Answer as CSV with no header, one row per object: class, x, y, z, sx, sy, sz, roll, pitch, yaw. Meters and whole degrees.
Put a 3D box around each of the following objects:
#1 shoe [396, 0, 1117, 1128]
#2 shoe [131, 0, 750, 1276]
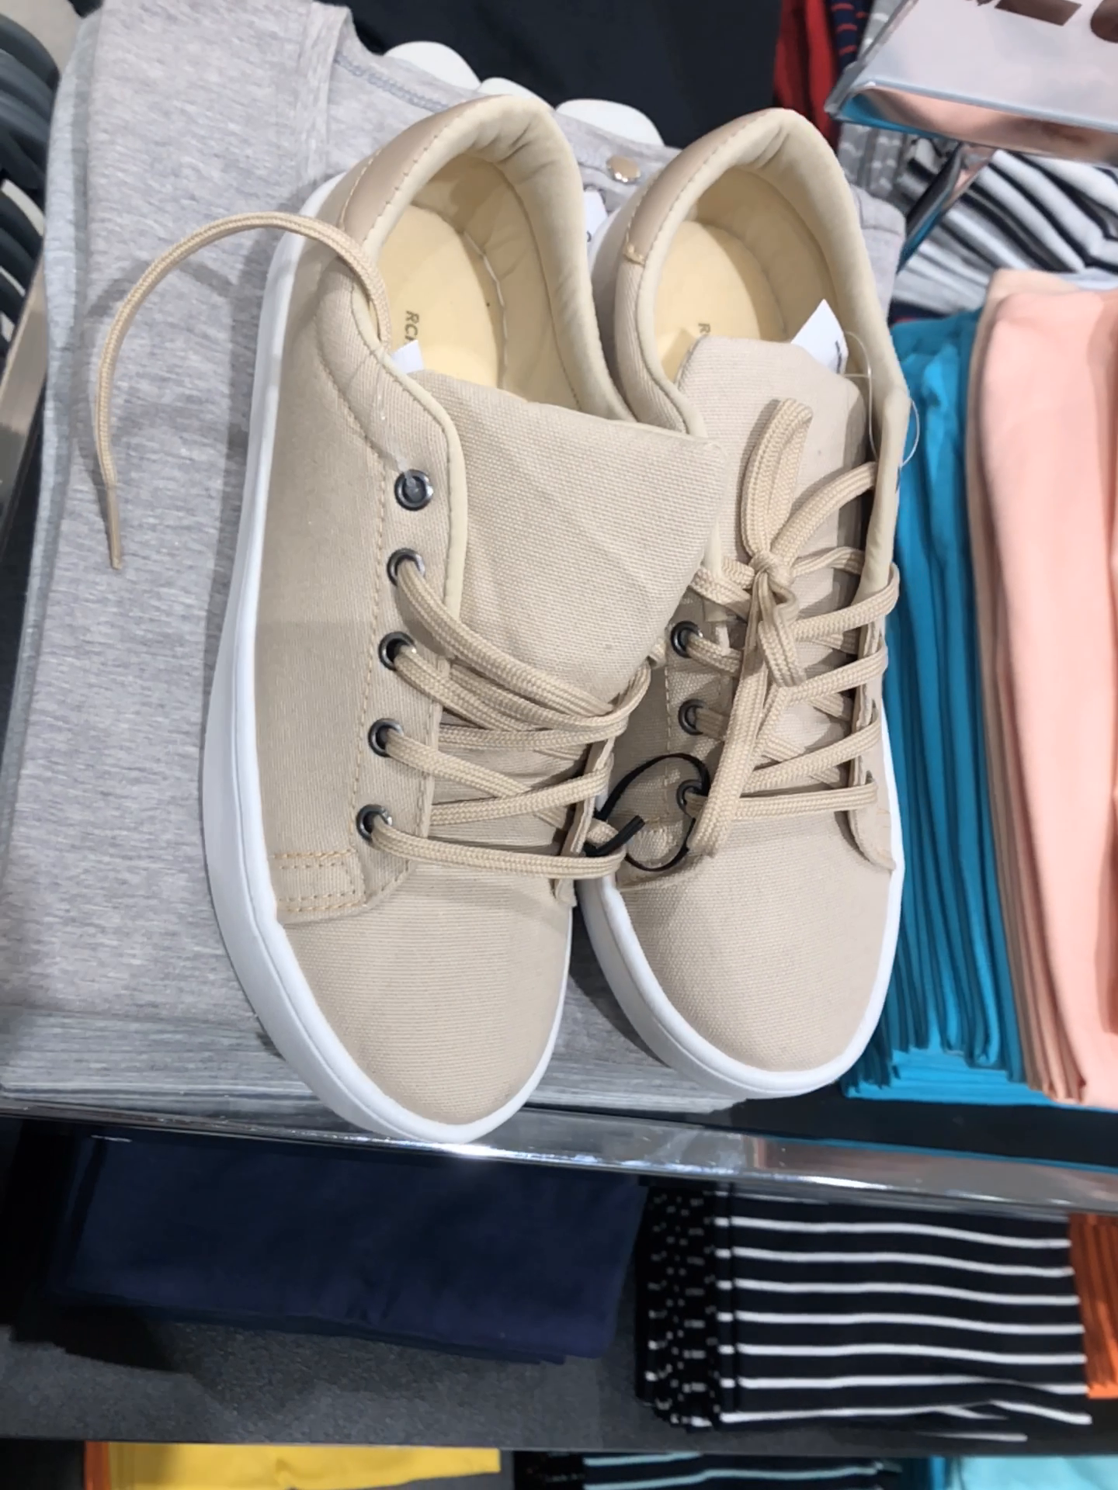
shoe,0.033,-0.056,0.341,0.110,0.109,0.291,0,69,-21
shoe,-0.034,-0.039,0.300,0.100,0.110,0.280,5,78,-29
